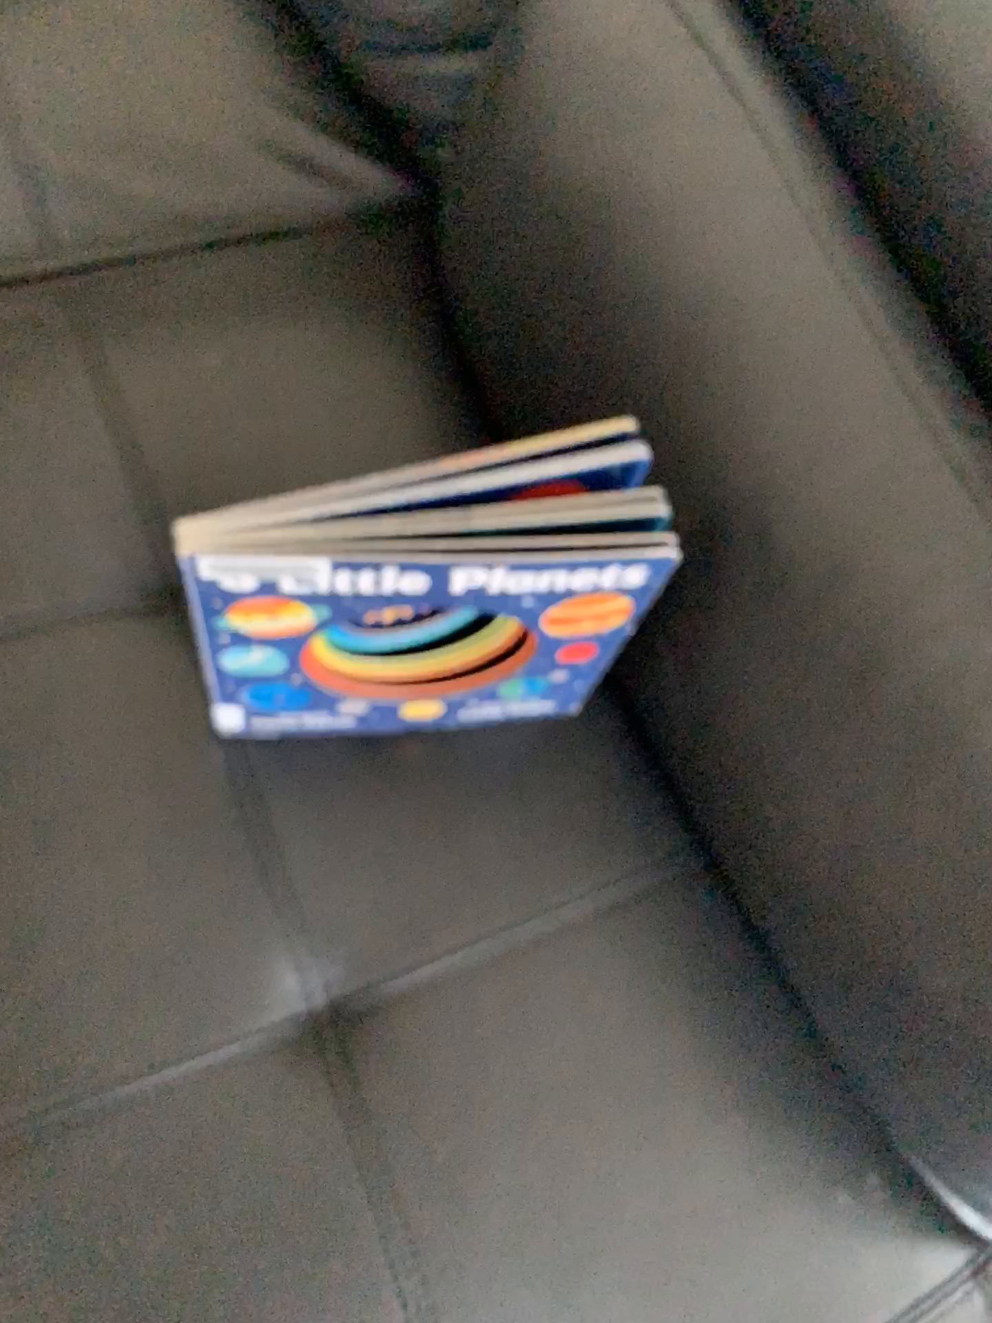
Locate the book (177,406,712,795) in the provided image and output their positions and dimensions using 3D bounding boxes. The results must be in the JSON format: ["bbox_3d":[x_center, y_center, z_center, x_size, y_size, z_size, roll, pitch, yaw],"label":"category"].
[{"bbox_3d":[-0.036,-0.020,0.519,0.207,0.212,0.079,-7,66,-14],"label":"book"}]
